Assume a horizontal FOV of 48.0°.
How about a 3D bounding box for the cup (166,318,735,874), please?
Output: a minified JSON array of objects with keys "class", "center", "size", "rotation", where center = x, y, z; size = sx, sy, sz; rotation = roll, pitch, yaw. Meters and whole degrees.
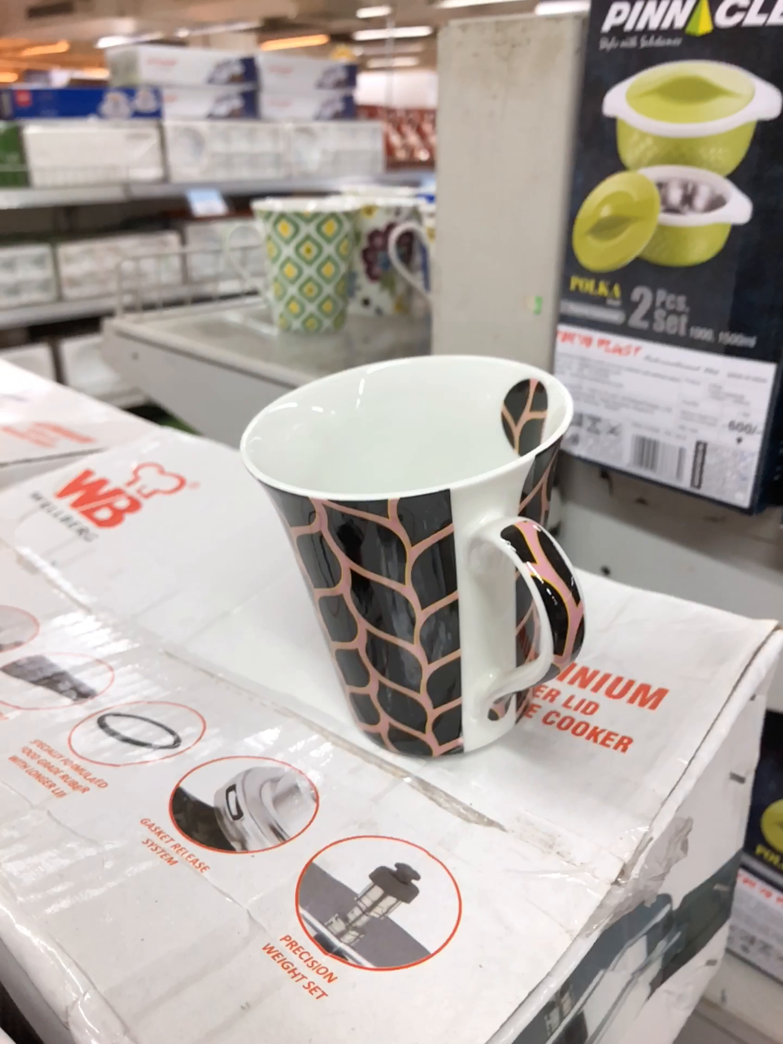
[{"class":"cup","center":[0.011,0.005,0.230],"size":[0.090,0.080,0.110],"rotation":[-21,31,-26]}]
